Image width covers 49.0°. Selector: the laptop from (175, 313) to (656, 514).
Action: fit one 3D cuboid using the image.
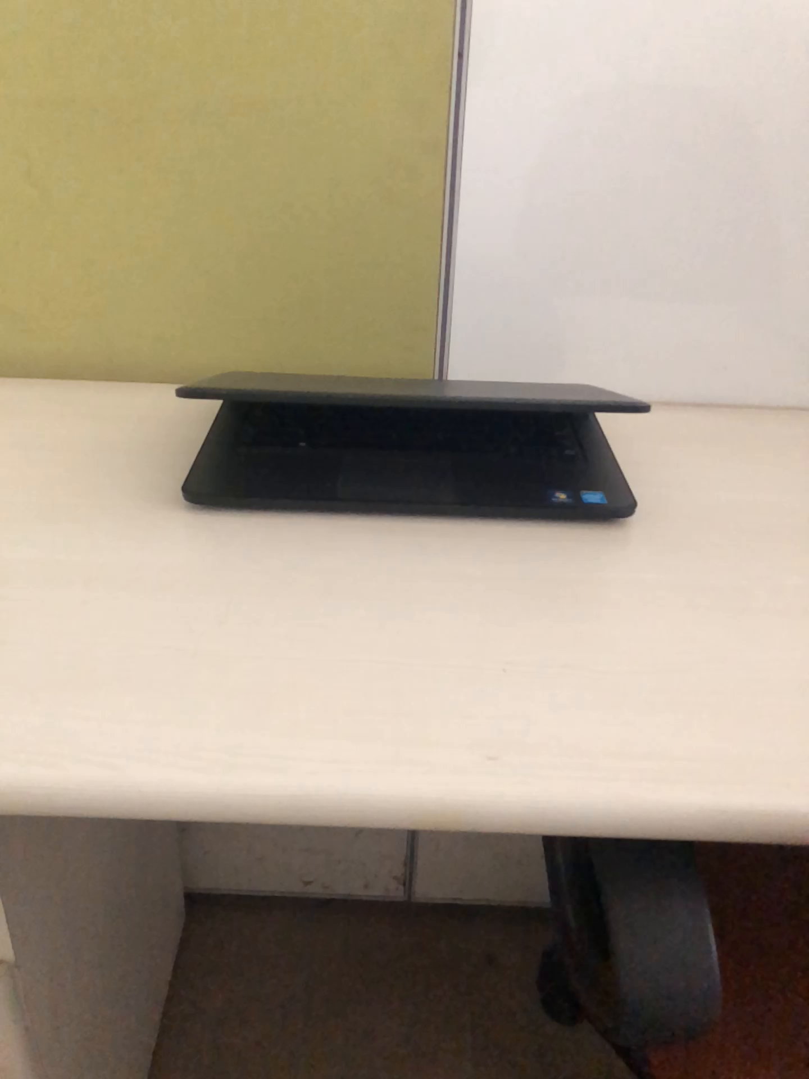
[{"bbox_3d":[0.007,-0.110,0.710,0.322,0.072,0.230,2,28,-1],"label":"laptop"}]
